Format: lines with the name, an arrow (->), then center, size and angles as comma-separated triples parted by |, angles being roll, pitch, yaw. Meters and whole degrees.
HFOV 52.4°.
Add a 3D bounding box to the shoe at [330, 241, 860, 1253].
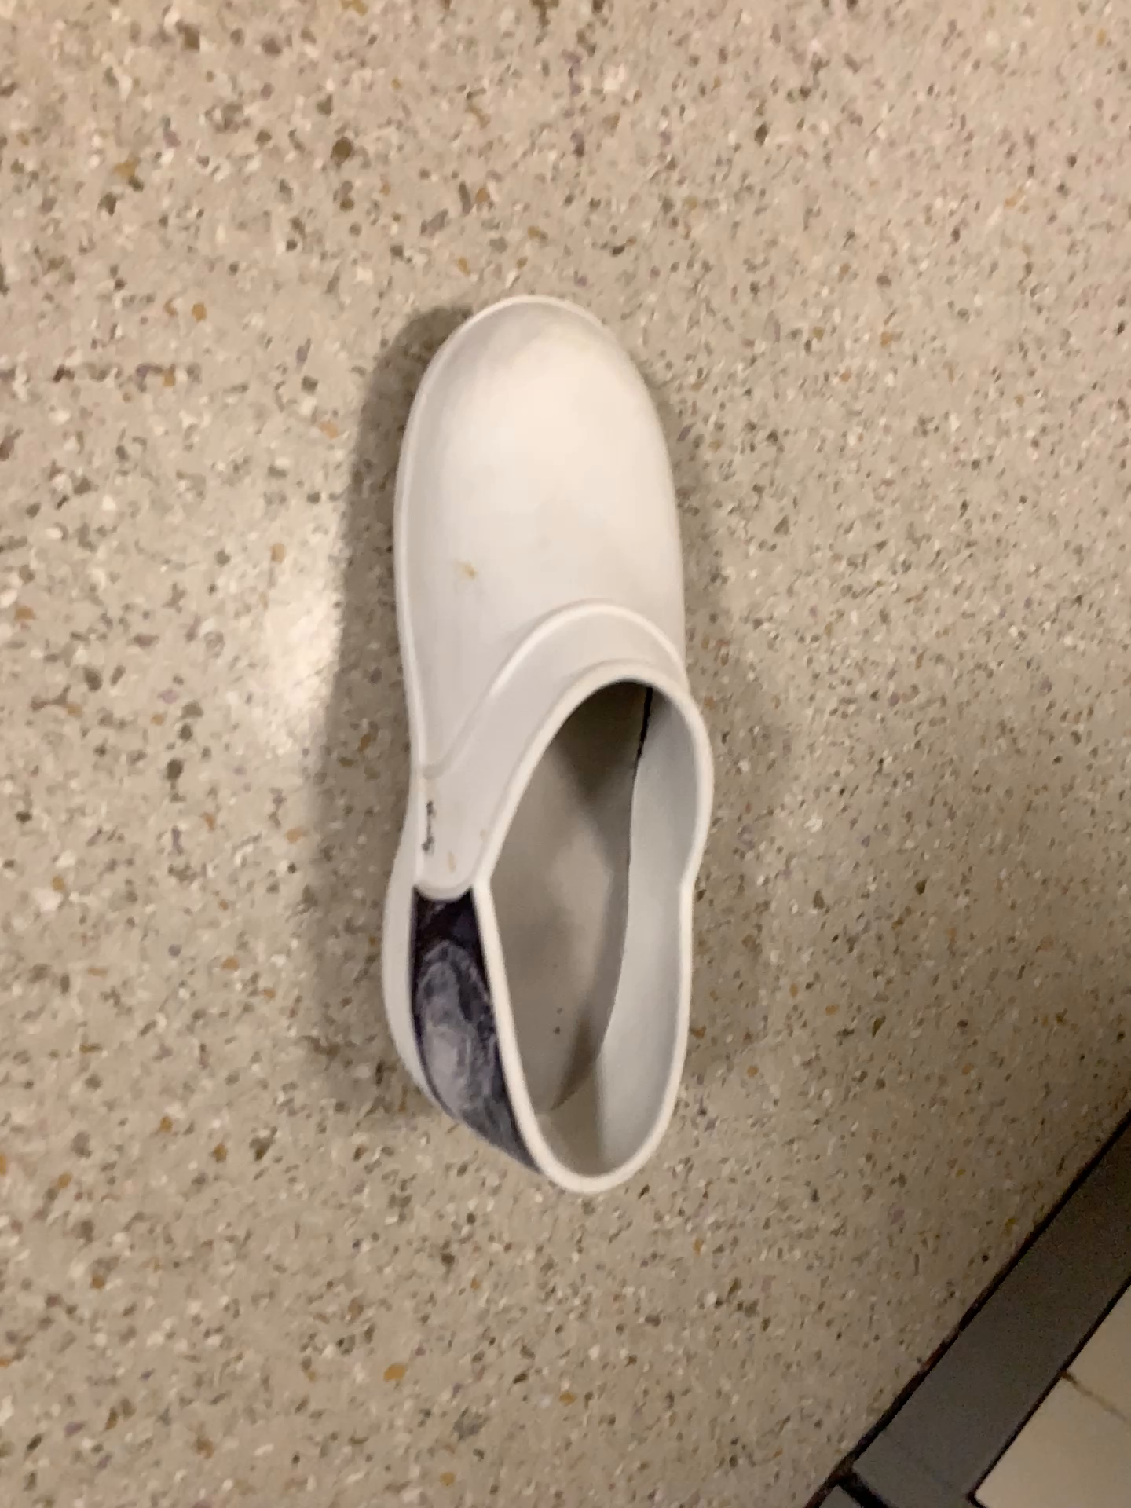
shoe -> 0.003, -0.001, 0.358 | 0.107, 0.101, 0.254 | 3, 94, -30
